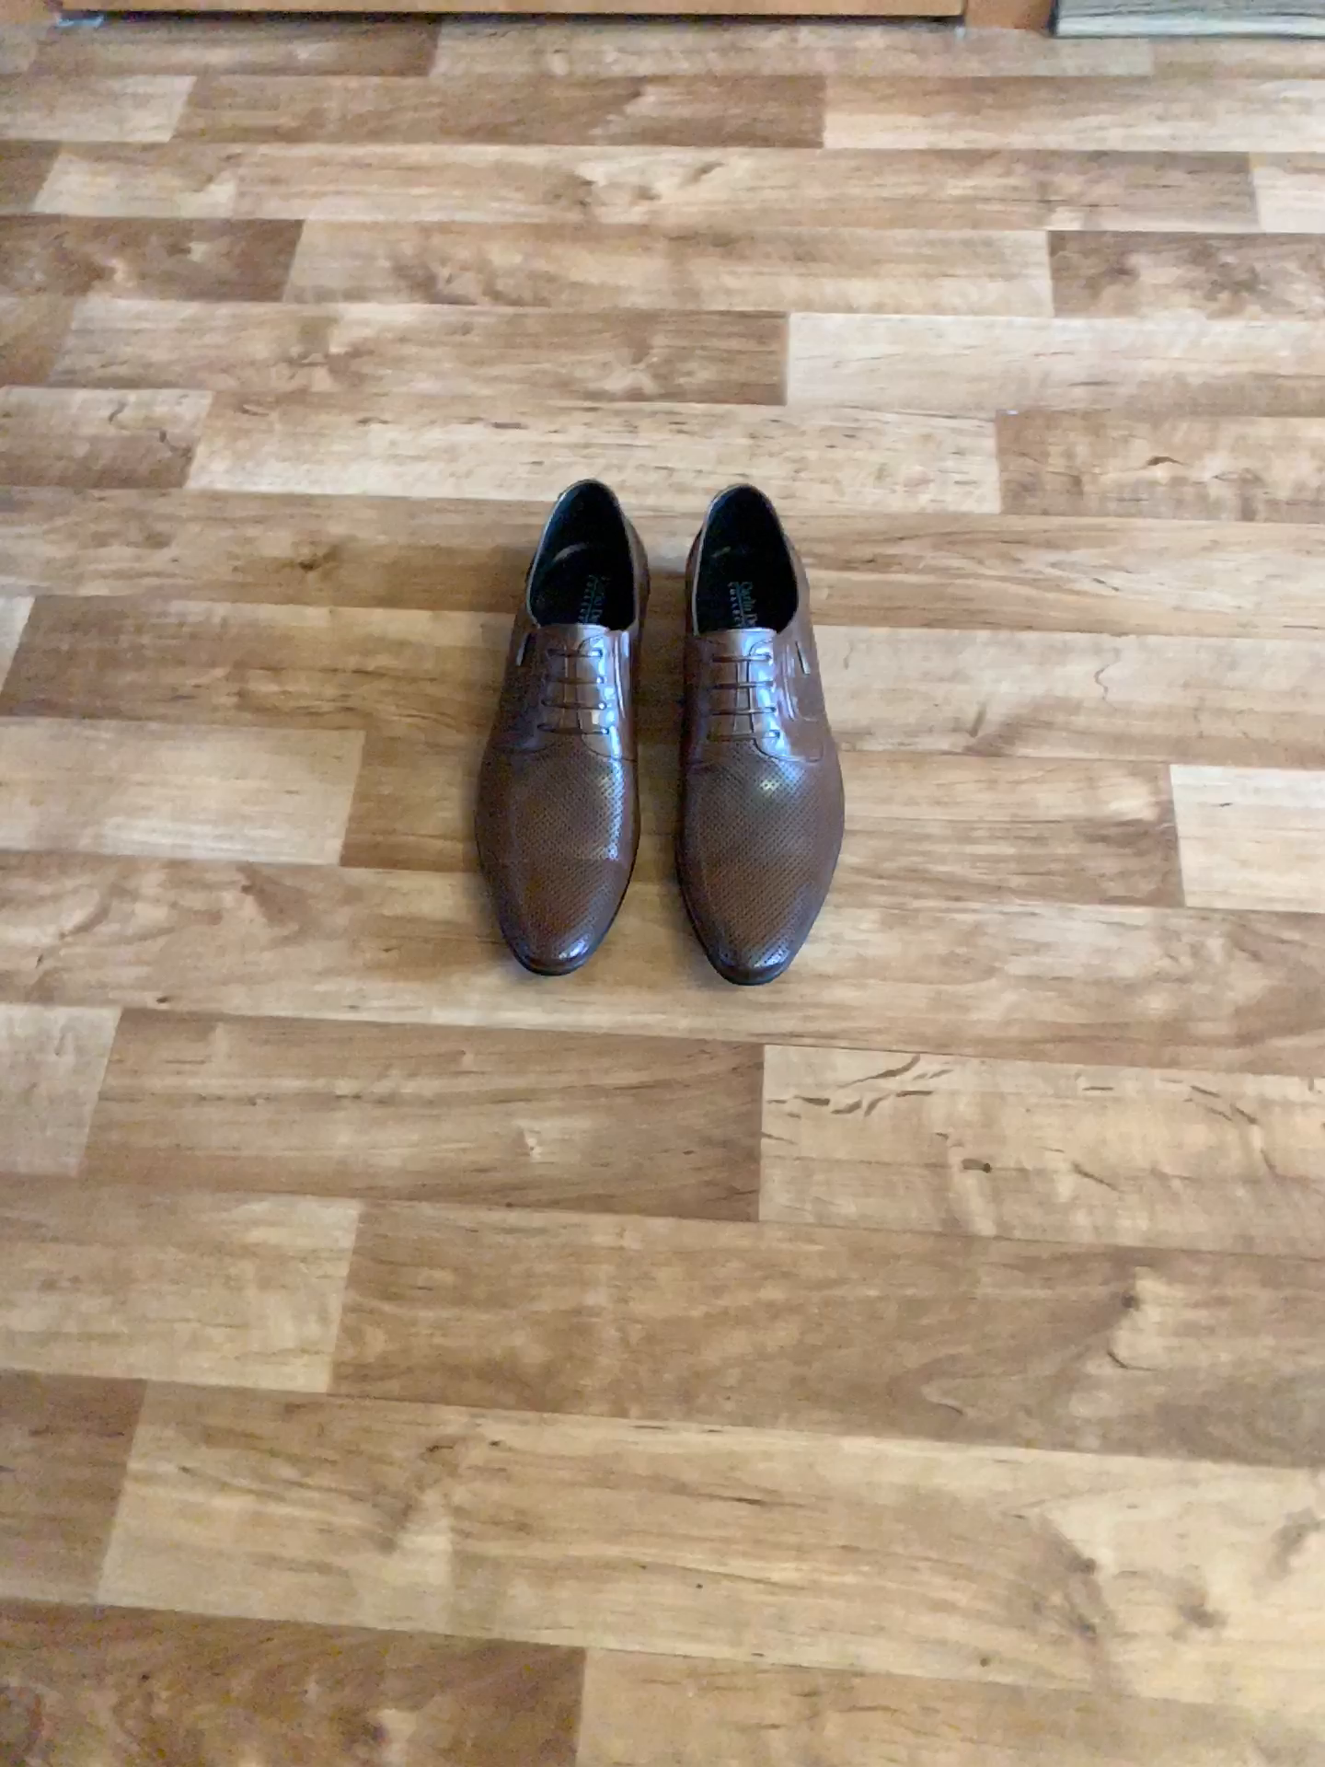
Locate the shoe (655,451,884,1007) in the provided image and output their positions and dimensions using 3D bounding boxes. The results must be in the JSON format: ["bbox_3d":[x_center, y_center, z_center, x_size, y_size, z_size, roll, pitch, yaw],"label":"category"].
[{"bbox_3d":[0.055,-0.093,0.767,0.110,0.100,0.311,0,62,2],"label":"shoe"}]

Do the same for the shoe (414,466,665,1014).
[{"bbox_3d":[-0.061,-0.088,0.793,0.100,0.120,0.301,3,62,4],"label":"shoe"}]
